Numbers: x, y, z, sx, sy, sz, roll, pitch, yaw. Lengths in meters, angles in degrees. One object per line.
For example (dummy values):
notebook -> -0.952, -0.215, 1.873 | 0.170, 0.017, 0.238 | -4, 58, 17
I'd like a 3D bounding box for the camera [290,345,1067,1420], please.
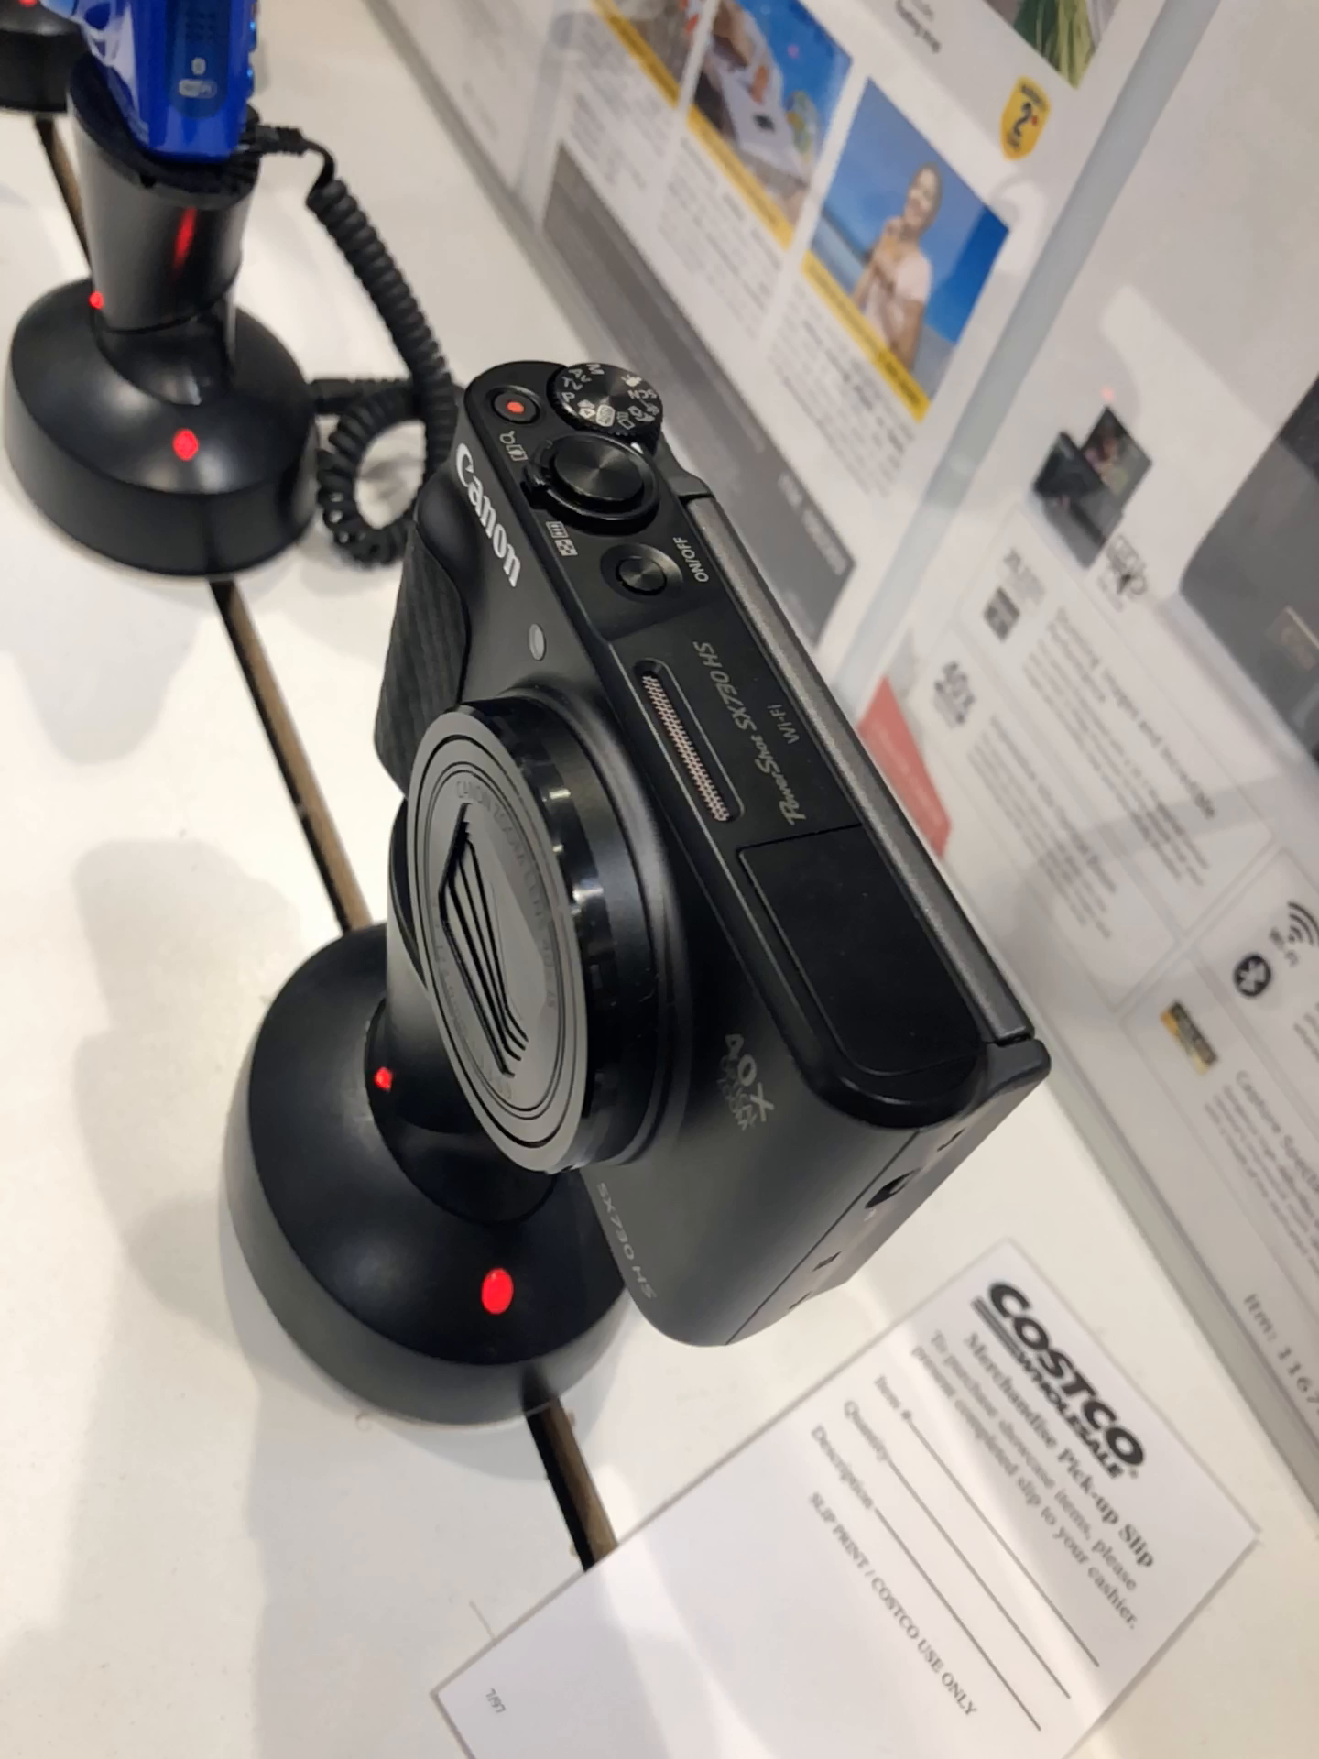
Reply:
camera -> -0.009, -0.005, 0.177 | 0.040, 0.060, 0.110 | -10, 57, -25
